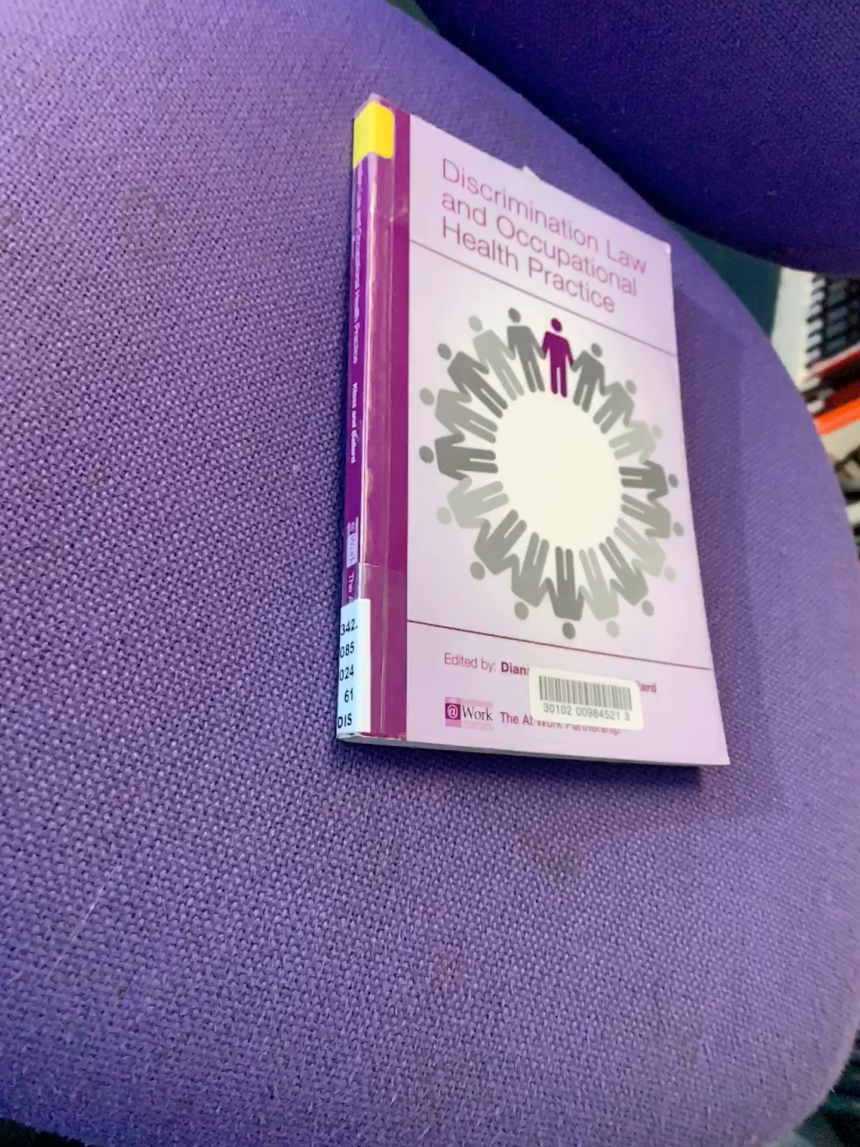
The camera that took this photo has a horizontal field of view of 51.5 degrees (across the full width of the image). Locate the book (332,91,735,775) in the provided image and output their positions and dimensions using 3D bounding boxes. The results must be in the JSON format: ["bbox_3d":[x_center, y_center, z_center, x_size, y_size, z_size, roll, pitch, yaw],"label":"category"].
[{"bbox_3d":[0.040,-0.048,0.337,0.157,0.022,0.236,11,68,-32],"label":"book"}]
